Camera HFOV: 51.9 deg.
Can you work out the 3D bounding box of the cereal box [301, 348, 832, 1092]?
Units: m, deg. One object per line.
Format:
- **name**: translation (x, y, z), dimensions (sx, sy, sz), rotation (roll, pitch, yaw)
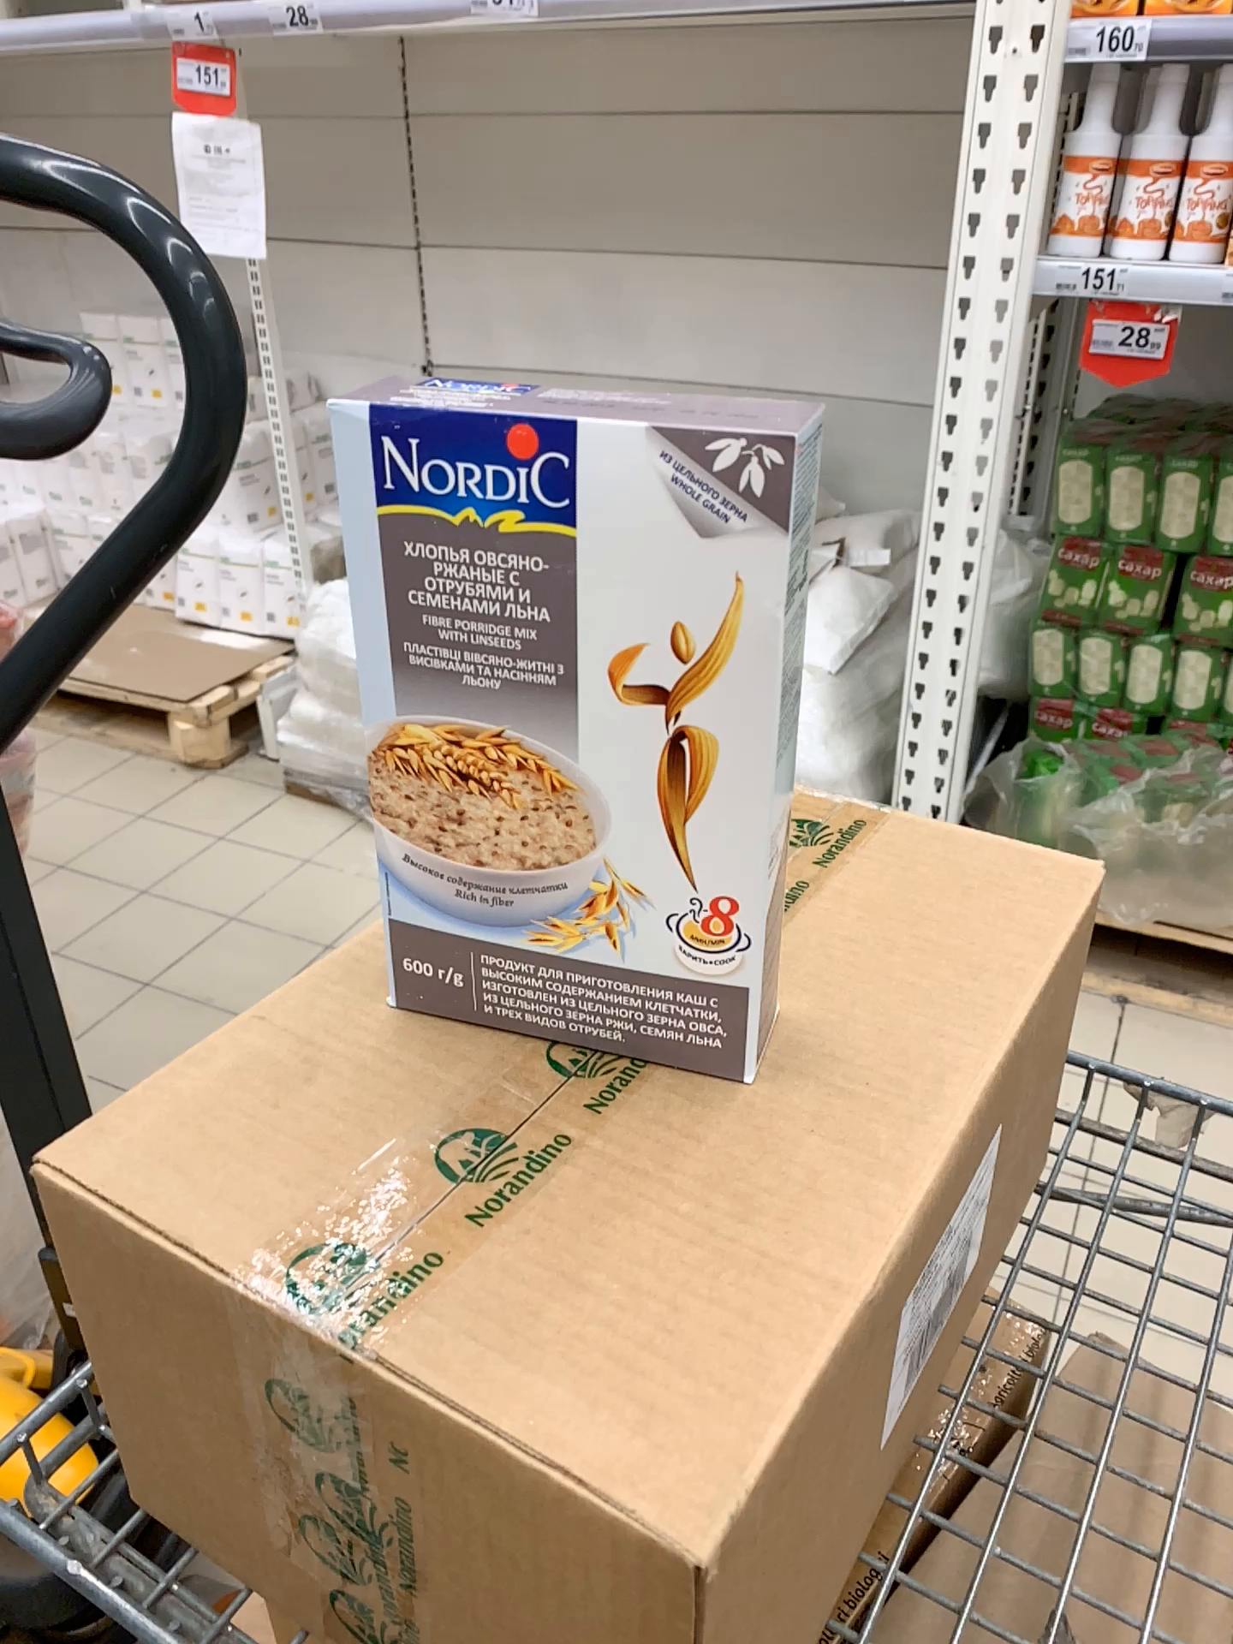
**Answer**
- **cereal box**: translation (-0.013, -0.030, 0.437), dimensions (0.150, 0.239, 0.050), rotation (9, 31, 16)
